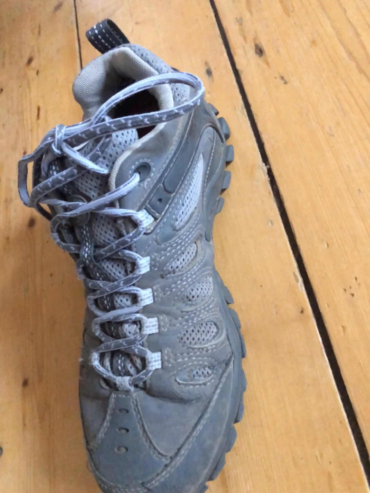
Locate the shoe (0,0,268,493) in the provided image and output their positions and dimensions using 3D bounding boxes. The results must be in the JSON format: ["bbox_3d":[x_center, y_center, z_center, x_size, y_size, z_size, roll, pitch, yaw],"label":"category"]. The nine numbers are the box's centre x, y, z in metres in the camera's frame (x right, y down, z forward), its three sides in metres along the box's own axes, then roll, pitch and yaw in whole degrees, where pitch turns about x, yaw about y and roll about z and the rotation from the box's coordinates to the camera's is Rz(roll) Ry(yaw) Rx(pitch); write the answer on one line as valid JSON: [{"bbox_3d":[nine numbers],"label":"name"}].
[{"bbox_3d":[-0.023,0.006,0.247,0.100,0.110,0.281,-10,67,29],"label":"shoe"}]
